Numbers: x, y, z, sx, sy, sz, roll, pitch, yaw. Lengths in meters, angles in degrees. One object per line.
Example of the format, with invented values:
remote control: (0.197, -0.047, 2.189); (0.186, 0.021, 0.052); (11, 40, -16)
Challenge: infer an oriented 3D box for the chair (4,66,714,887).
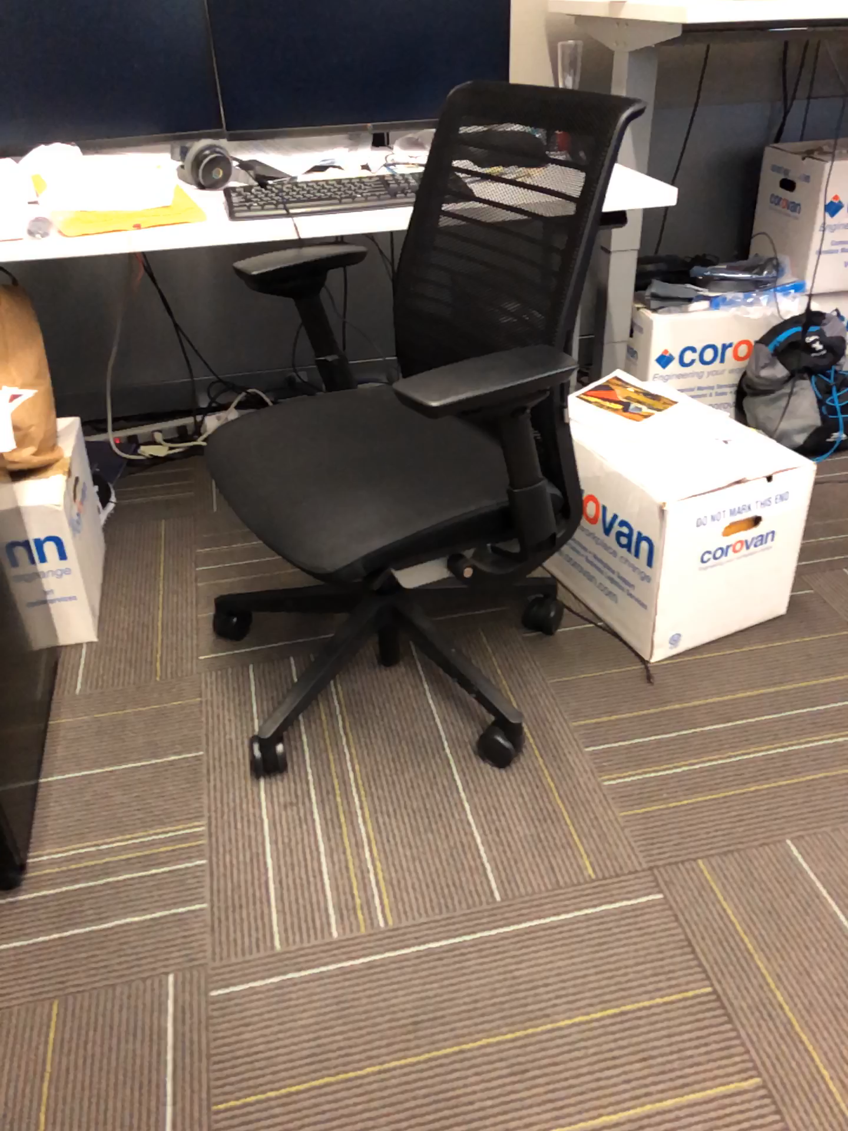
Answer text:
chair: (-0.126, -0.224, 1.538); (0.701, 0.994, 0.783); (-19, 36, -25)
